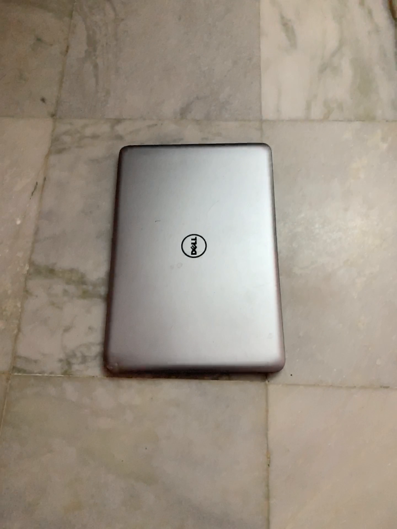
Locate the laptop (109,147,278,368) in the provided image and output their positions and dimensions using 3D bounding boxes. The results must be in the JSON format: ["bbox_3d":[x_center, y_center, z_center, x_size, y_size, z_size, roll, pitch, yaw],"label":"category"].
[{"bbox_3d":[-0.007,-0.025,0.614,0.234,0.001,0.351,0,72,2],"label":"laptop"}]
